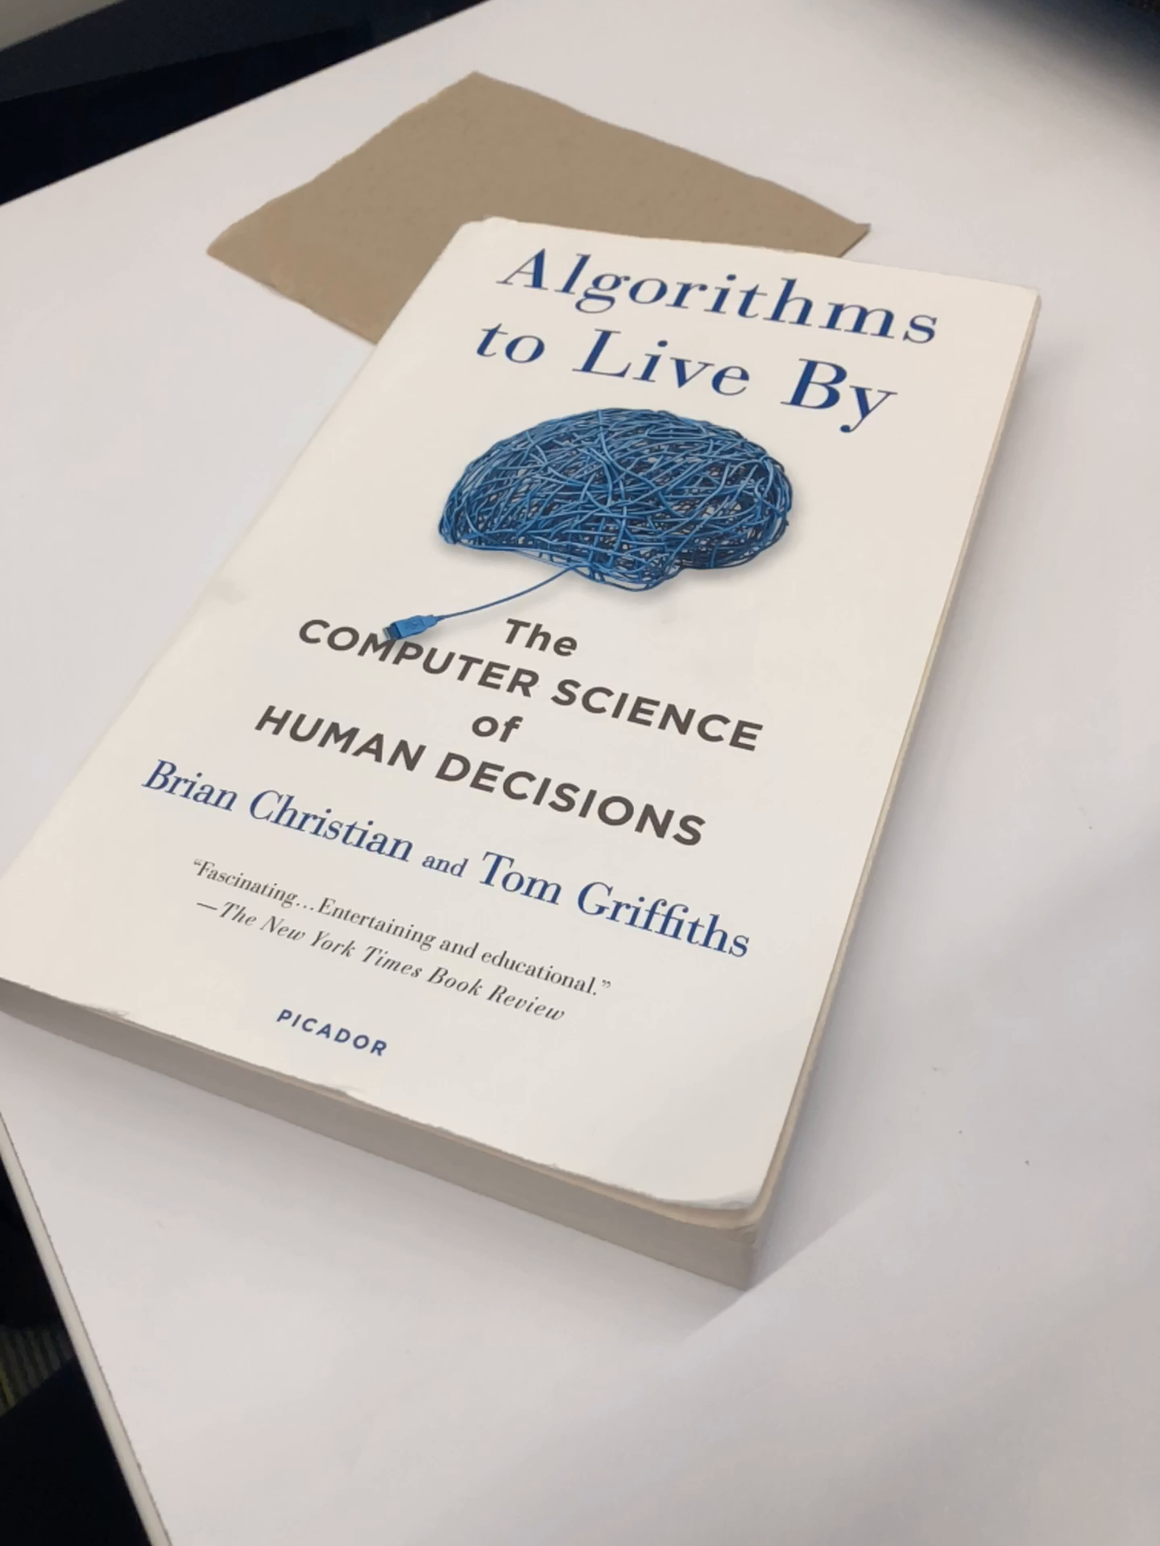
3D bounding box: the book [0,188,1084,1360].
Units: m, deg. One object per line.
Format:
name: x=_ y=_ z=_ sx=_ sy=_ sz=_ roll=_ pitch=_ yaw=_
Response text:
book: x=-0.005 y=-0.029 z=0.257 sx=0.160 sy=0.040 sz=0.220 roll=14 pitch=57 yaw=17
